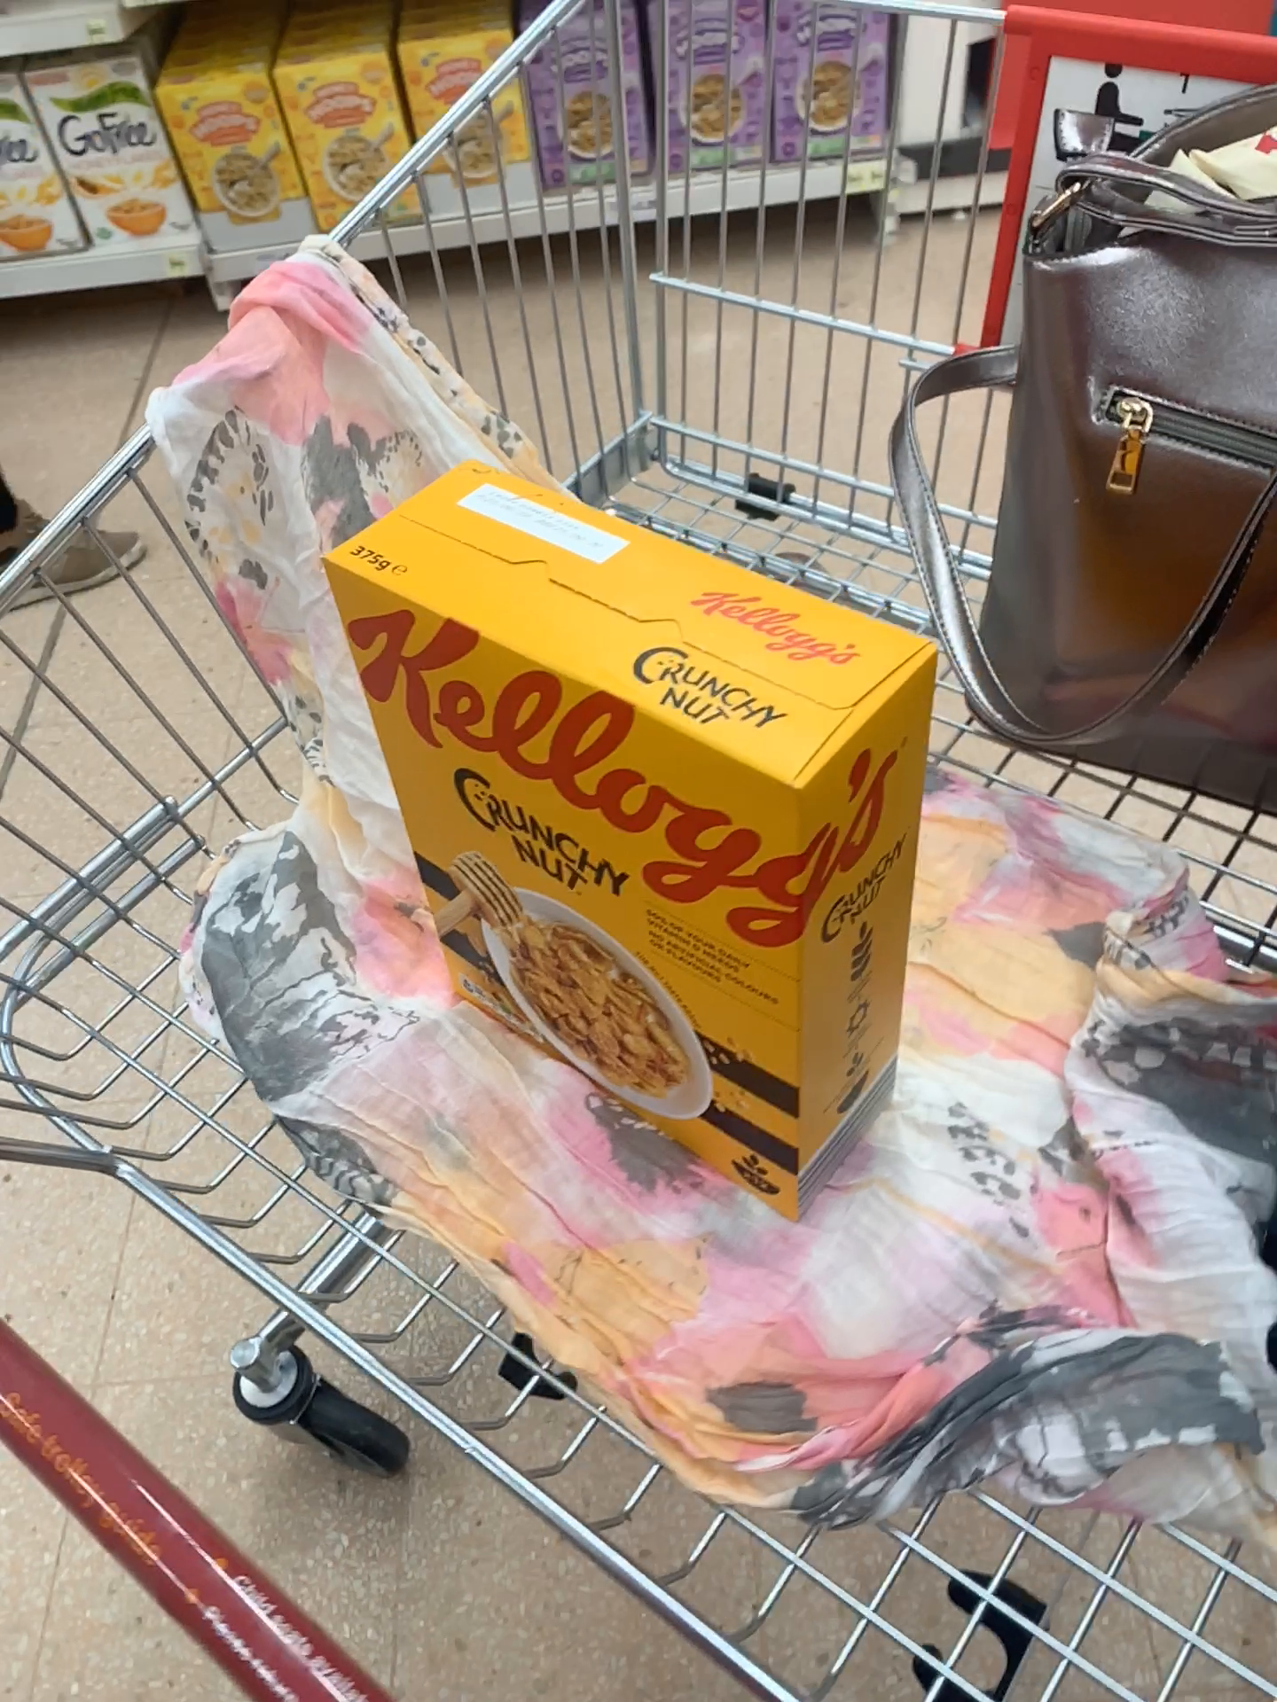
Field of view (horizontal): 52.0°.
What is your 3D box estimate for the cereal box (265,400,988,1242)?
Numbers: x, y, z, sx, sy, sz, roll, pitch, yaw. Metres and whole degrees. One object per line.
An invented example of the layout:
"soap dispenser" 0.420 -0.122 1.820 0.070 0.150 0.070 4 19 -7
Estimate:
"cereal box" 0.000 -0.002 0.481 0.211 0.258 0.080 28 57 28
